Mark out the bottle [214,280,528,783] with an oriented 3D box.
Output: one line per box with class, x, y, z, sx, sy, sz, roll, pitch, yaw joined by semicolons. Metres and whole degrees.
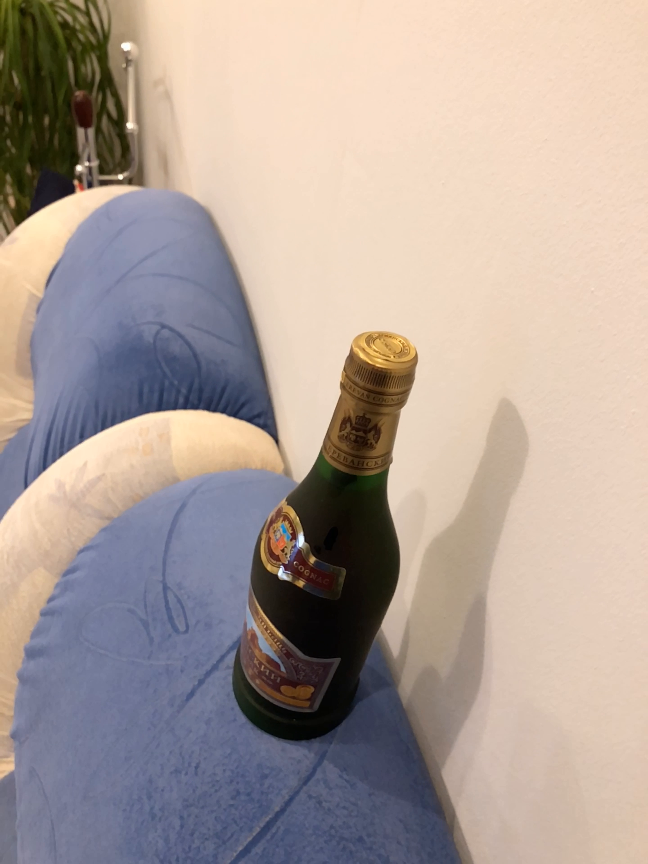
bottle;0.004;0.059;0.354;0.080;0.242;0.091;-9;42;-23
